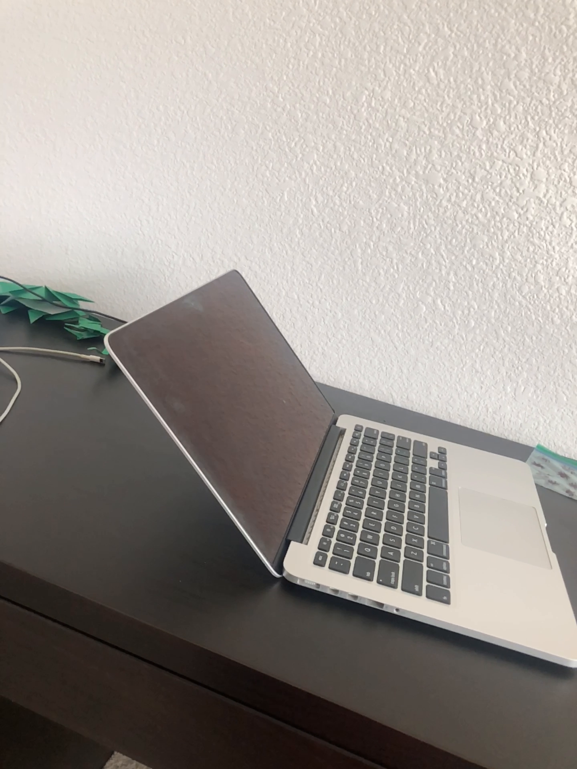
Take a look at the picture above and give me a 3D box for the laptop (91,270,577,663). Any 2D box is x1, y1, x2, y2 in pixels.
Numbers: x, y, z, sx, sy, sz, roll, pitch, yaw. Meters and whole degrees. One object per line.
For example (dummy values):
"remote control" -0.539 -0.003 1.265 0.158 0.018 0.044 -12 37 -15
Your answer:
"laptop" 0.069 0.028 0.573 0.362 0.133 0.310 15 21 9
